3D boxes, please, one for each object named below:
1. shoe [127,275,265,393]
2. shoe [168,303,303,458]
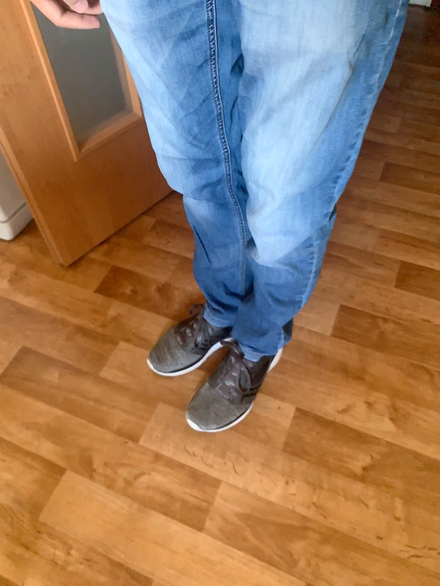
[{"bbox_3d":[-0.051,0.089,1.044,0.280,0.100,0.124,-27,57,-18],"label":"shoe"},{"bbox_3d":[0.039,0.179,0.974,0.134,0.100,0.291,30,60,22],"label":"shoe"}]
